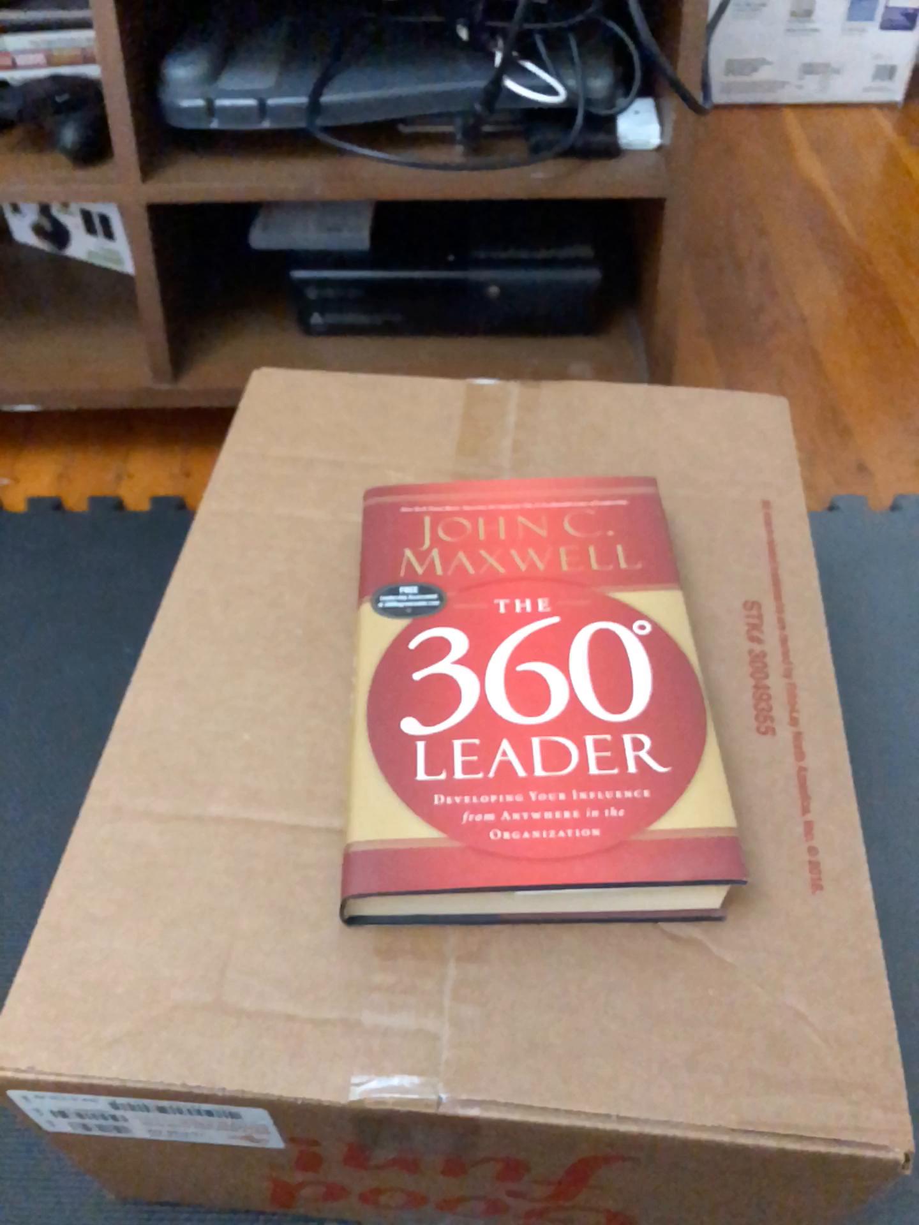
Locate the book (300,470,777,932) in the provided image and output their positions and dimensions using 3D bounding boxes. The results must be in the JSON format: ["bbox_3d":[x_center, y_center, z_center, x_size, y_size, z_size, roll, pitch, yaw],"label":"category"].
[{"bbox_3d":[0.030,0.026,0.476,0.180,0.030,0.241,-1,48,1],"label":"book"}]
